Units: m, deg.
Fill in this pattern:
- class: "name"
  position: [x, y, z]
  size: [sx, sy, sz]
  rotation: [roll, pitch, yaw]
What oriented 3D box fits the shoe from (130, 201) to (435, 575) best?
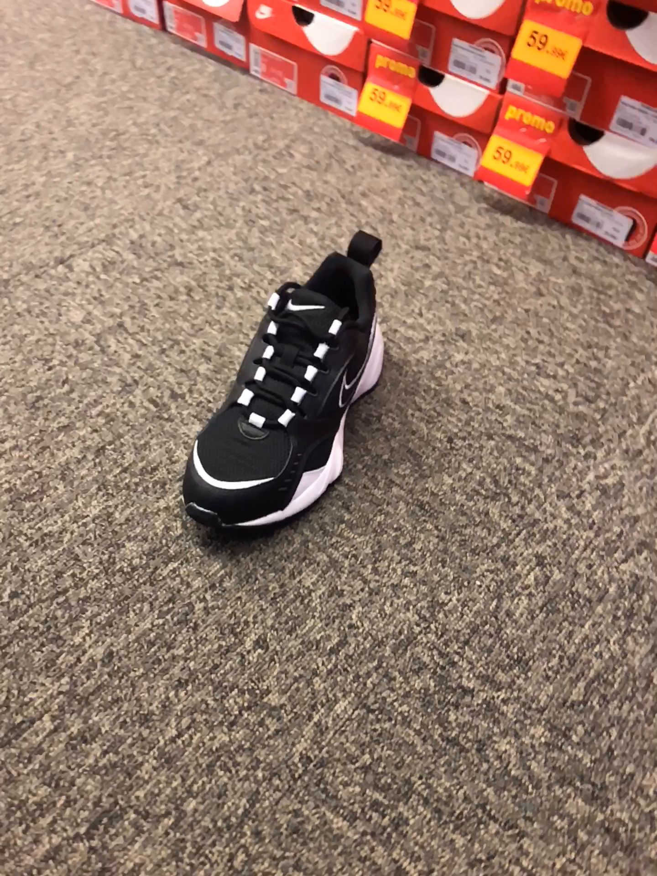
- class: "shoe"
  position: [-0.020, -0.049, 0.545]
  size: [0.104, 0.109, 0.262]
  rotation: [21, 54, 14]
